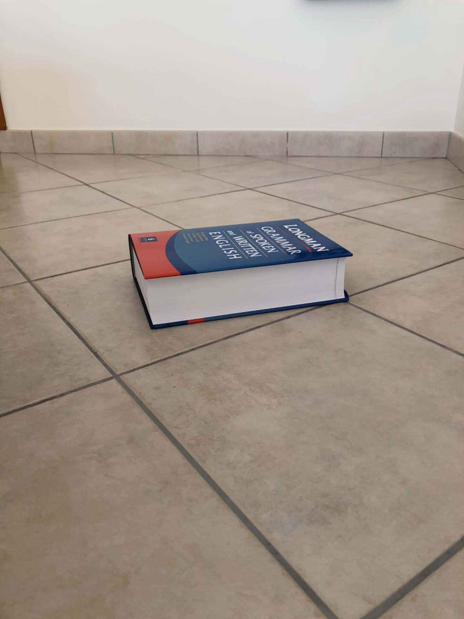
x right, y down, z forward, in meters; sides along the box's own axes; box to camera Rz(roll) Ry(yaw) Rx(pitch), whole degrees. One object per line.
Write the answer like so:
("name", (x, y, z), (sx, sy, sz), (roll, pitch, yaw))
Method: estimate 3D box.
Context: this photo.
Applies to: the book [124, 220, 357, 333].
("book", (0.000, -0.052, 0.648), (0.250, 0.060, 0.178), (-8, 25, -14))
